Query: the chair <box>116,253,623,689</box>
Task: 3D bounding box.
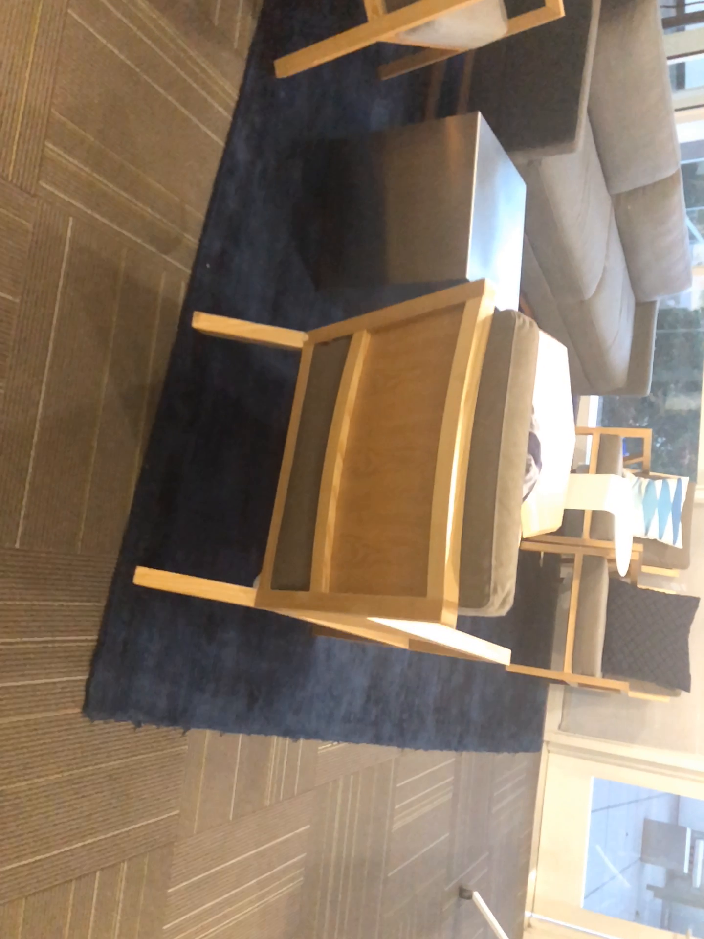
[{"bbox_3d":[0.126,0.068,1.766,0.835,0.774,0.671,35,60,-58],"label":"chair"}]
